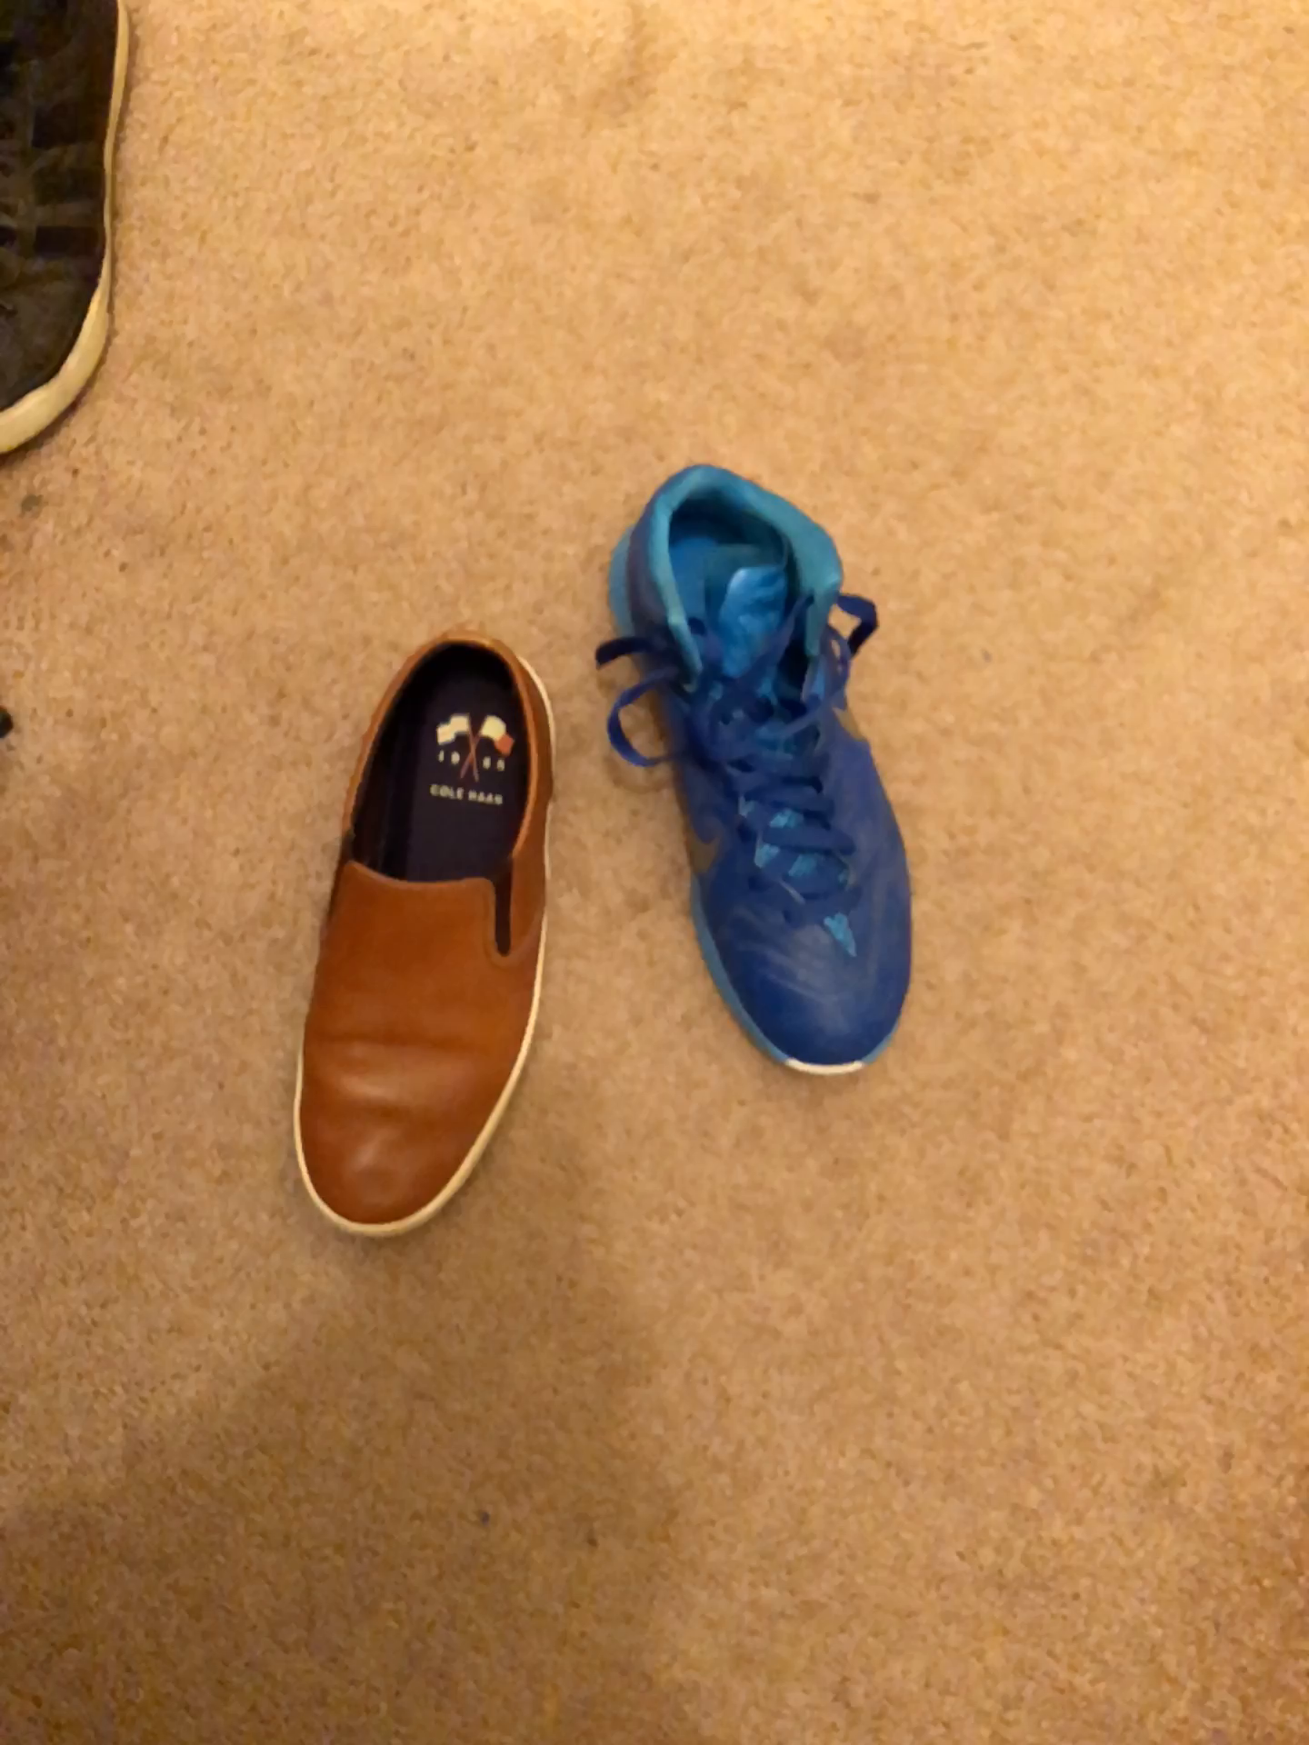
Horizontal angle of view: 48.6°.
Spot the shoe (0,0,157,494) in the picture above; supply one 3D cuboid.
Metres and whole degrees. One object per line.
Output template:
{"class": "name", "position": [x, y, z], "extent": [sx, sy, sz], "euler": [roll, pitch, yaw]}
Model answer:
{"class": "shoe", "position": [-0.322, -0.344, 0.683], "extent": [0.115, 0.113, 0.292], "euler": [3, 83, -3]}

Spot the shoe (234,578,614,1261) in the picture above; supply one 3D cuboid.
{"class": "shoe", "position": [-0.100, 0.021, 0.669], "extent": [0.105, 0.083, 0.282], "euler": [12, 82, -2]}

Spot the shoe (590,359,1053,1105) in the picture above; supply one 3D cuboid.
{"class": "shoe", "position": [0.063, -0.054, 0.662], "extent": [0.115, 0.143, 0.292], "euler": [-14, 84, -5]}
